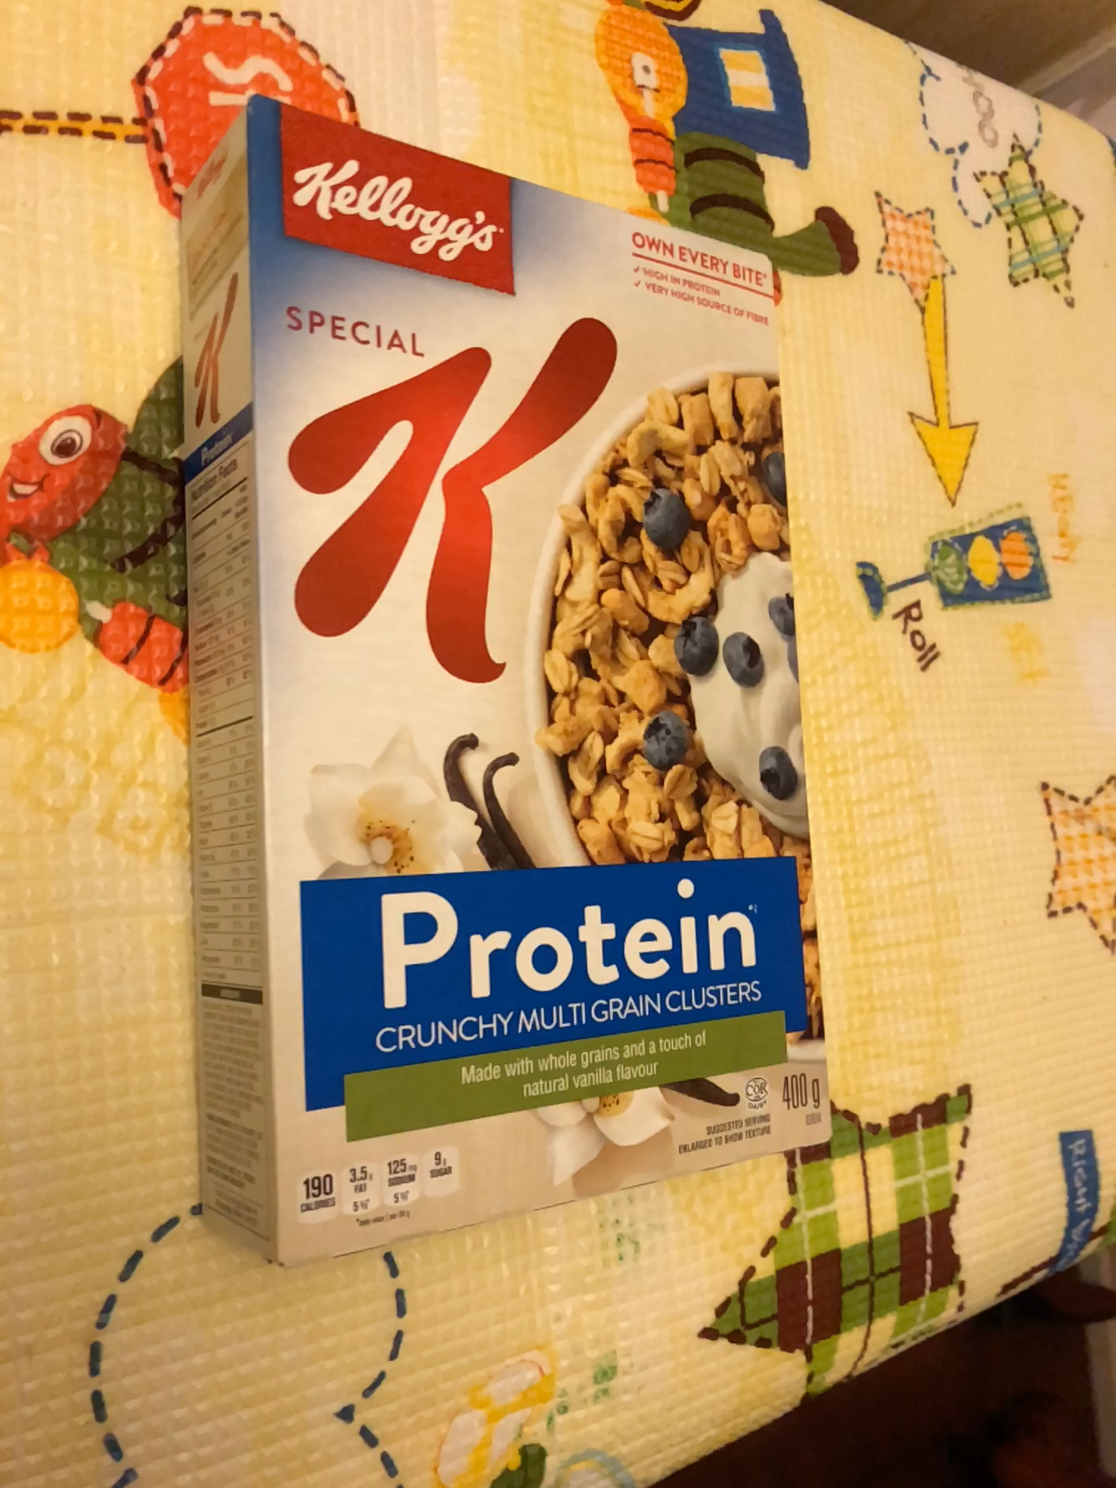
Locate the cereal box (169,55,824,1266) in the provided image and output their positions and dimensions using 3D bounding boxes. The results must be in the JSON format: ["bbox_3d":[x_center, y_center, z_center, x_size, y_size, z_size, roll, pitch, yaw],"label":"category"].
[{"bbox_3d":[-0.012,-0.017,0.324,0.161,0.060,0.250,2,84,-37],"label":"cereal box"}]
